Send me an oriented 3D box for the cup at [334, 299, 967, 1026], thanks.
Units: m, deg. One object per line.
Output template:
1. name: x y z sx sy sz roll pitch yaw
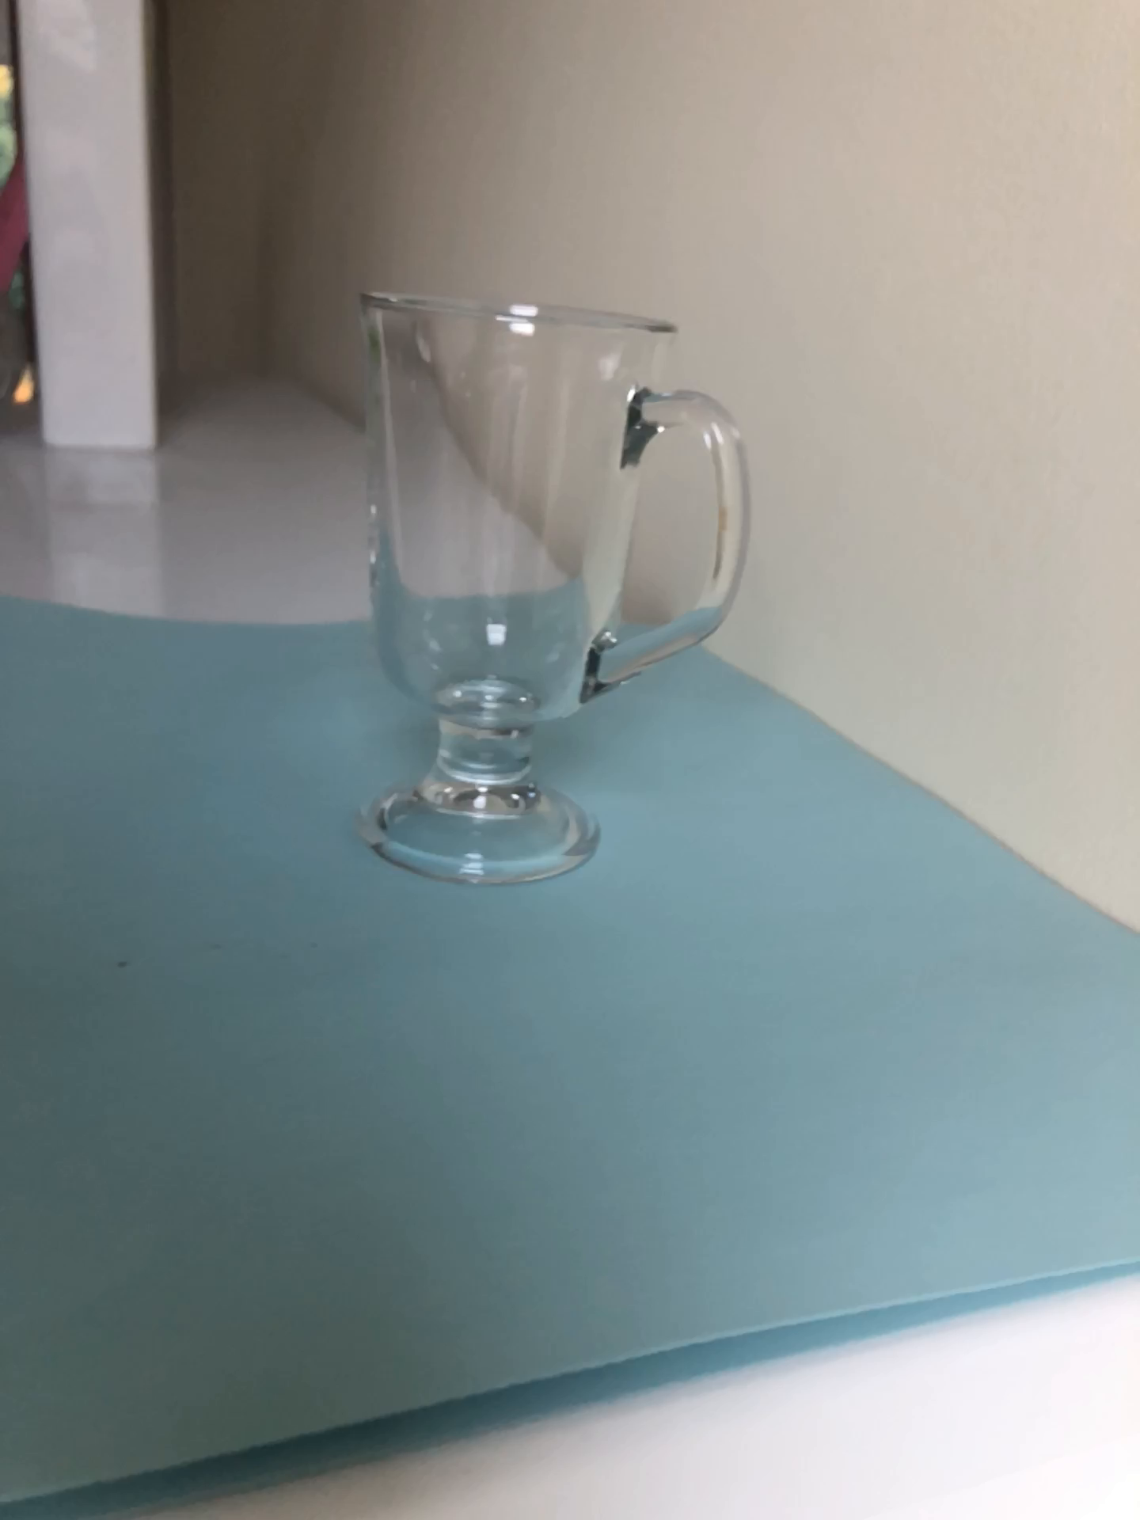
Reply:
1. cup: 0.013 -0.028 0.268 0.100 0.119 0.070 17 23 29
